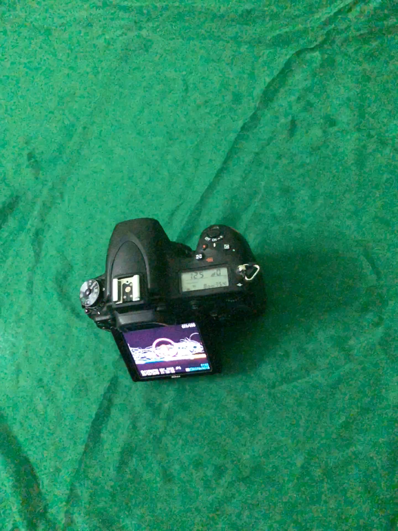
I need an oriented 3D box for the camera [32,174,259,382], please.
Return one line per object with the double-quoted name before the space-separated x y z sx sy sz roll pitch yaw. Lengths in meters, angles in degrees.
"camera" -0.036 0.021 0.332 0.142 0.100 0.128 -8 69 16
